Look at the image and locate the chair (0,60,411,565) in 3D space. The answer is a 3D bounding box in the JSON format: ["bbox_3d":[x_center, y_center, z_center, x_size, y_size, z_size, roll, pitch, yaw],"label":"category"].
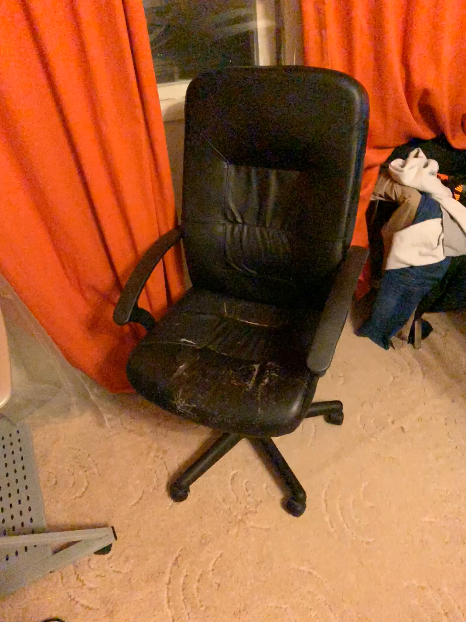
[{"bbox_3d":[0.010,-0.011,1.374,0.711,1.123,0.744,12,43,22],"label":"chair"}]
